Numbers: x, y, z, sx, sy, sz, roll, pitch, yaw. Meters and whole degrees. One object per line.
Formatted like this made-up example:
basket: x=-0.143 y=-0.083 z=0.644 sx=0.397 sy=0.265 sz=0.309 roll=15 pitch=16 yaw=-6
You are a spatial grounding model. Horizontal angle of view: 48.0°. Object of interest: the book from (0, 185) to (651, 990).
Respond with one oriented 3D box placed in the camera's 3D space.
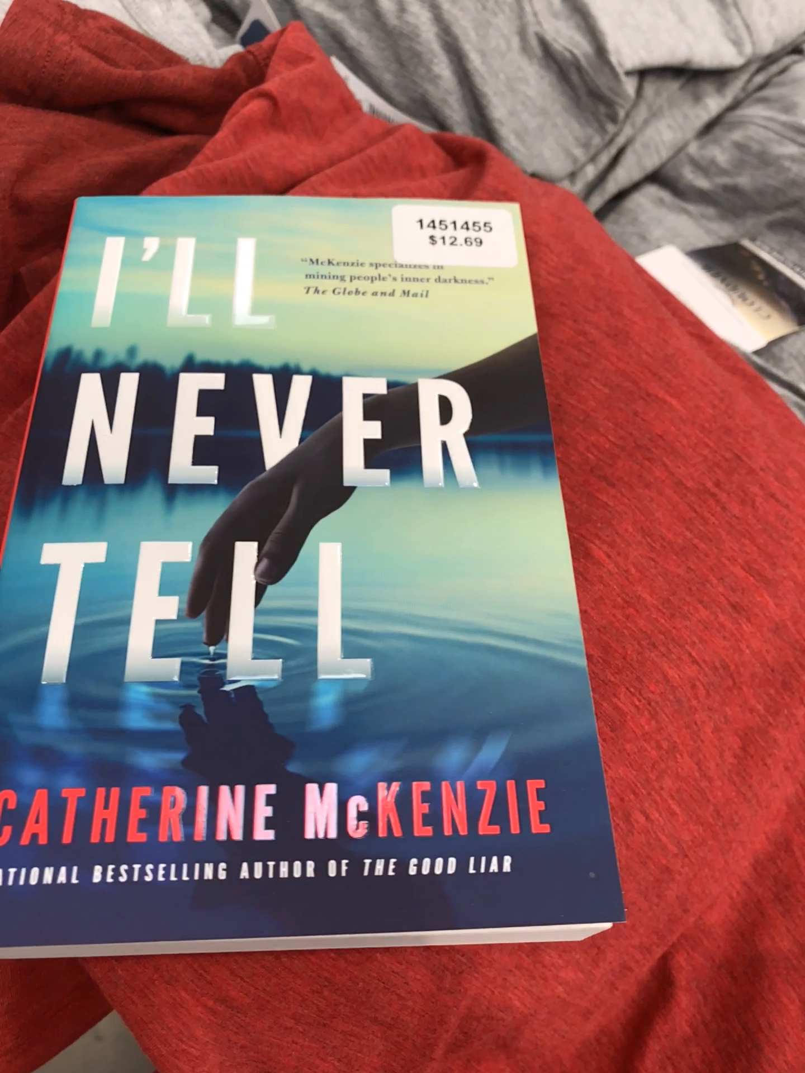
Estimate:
book: x=-0.030 y=-0.004 z=0.232 sx=0.143 sy=0.032 sz=0.209 roll=0 pitch=60 yaw=-4
